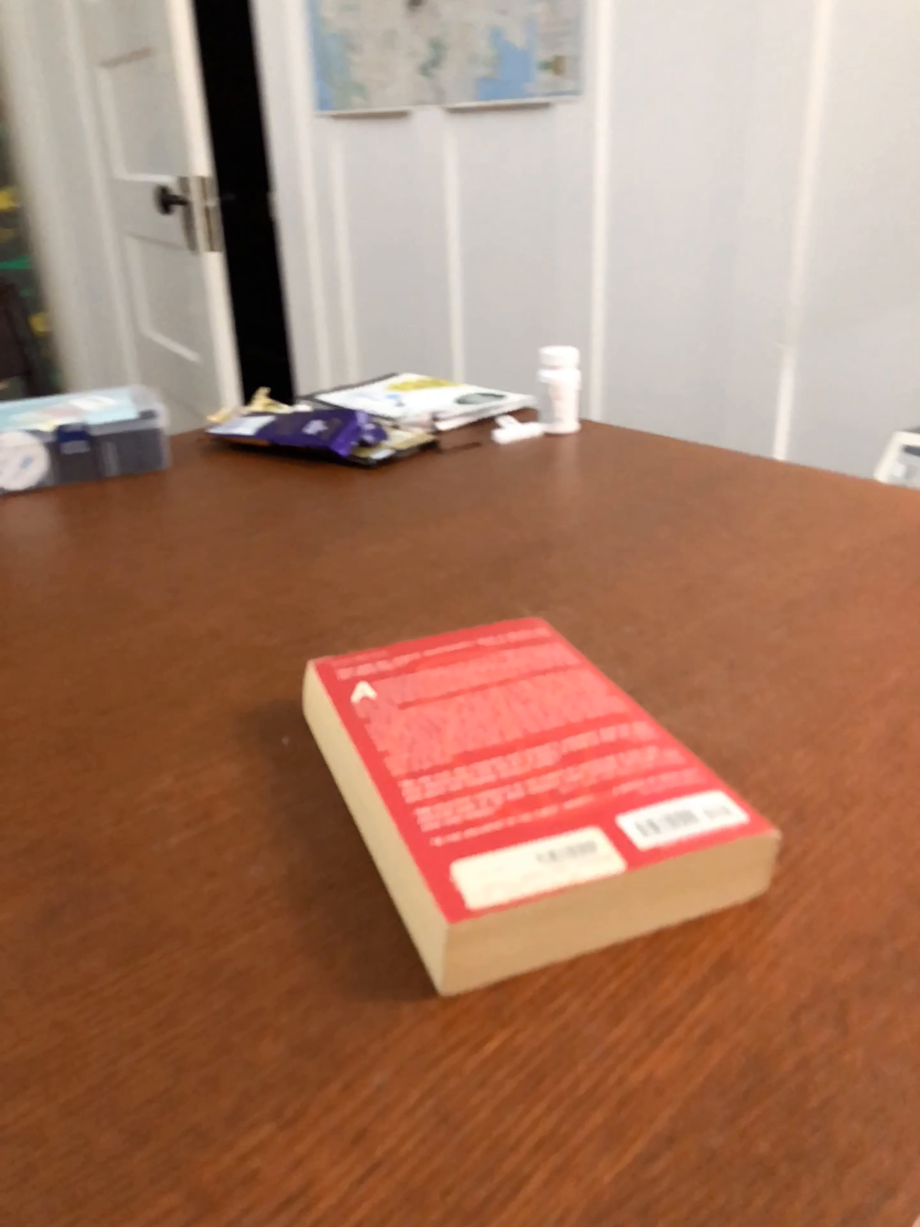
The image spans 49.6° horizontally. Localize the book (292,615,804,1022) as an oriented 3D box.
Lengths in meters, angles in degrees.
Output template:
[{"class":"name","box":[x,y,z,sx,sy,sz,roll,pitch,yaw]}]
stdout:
[{"class":"book","box":[0.020,0.067,0.430,0.140,0.030,0.211,-11,26,-18]}]
